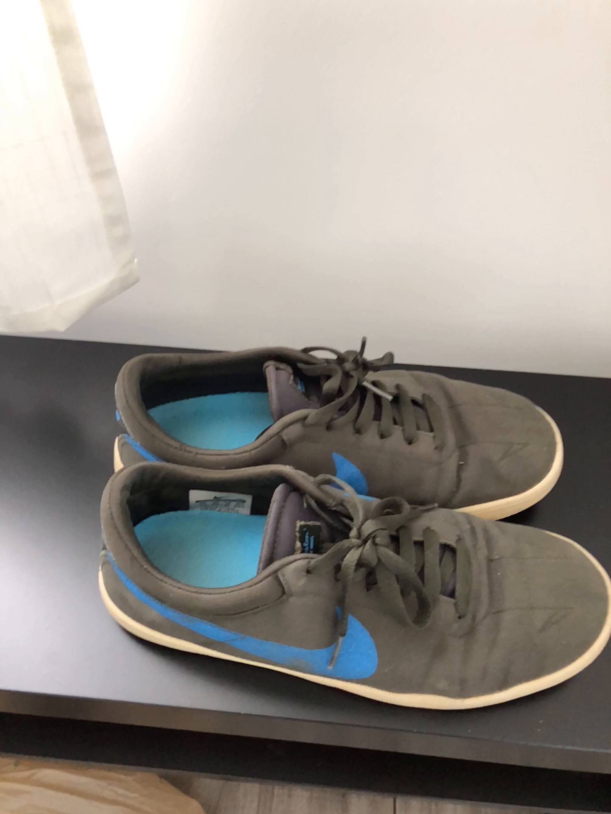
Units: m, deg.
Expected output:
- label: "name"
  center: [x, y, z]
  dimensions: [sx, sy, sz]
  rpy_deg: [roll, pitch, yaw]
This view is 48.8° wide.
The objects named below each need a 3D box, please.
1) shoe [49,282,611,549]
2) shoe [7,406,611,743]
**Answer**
- label: "shoe"
  center: [0.016, 0.007, 0.401]
  dimensions: [0.280, 0.110, 0.100]
  rpy_deg: [3, 52, 1]
- label: "shoe"
  center: [0.018, 0.088, 0.350]
  dimensions: [0.280, 0.110, 0.100]
  rpy_deg: [6, 52, 4]
